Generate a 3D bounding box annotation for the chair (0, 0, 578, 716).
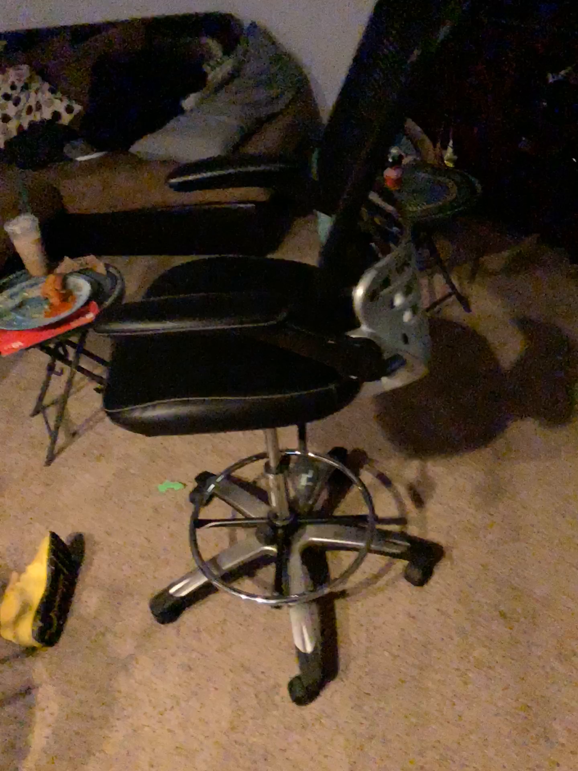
[{"bbox_3d":[-0.034,-0.054,1.159,0.700,1.120,0.780,-3,39,5],"label":"chair"}]
